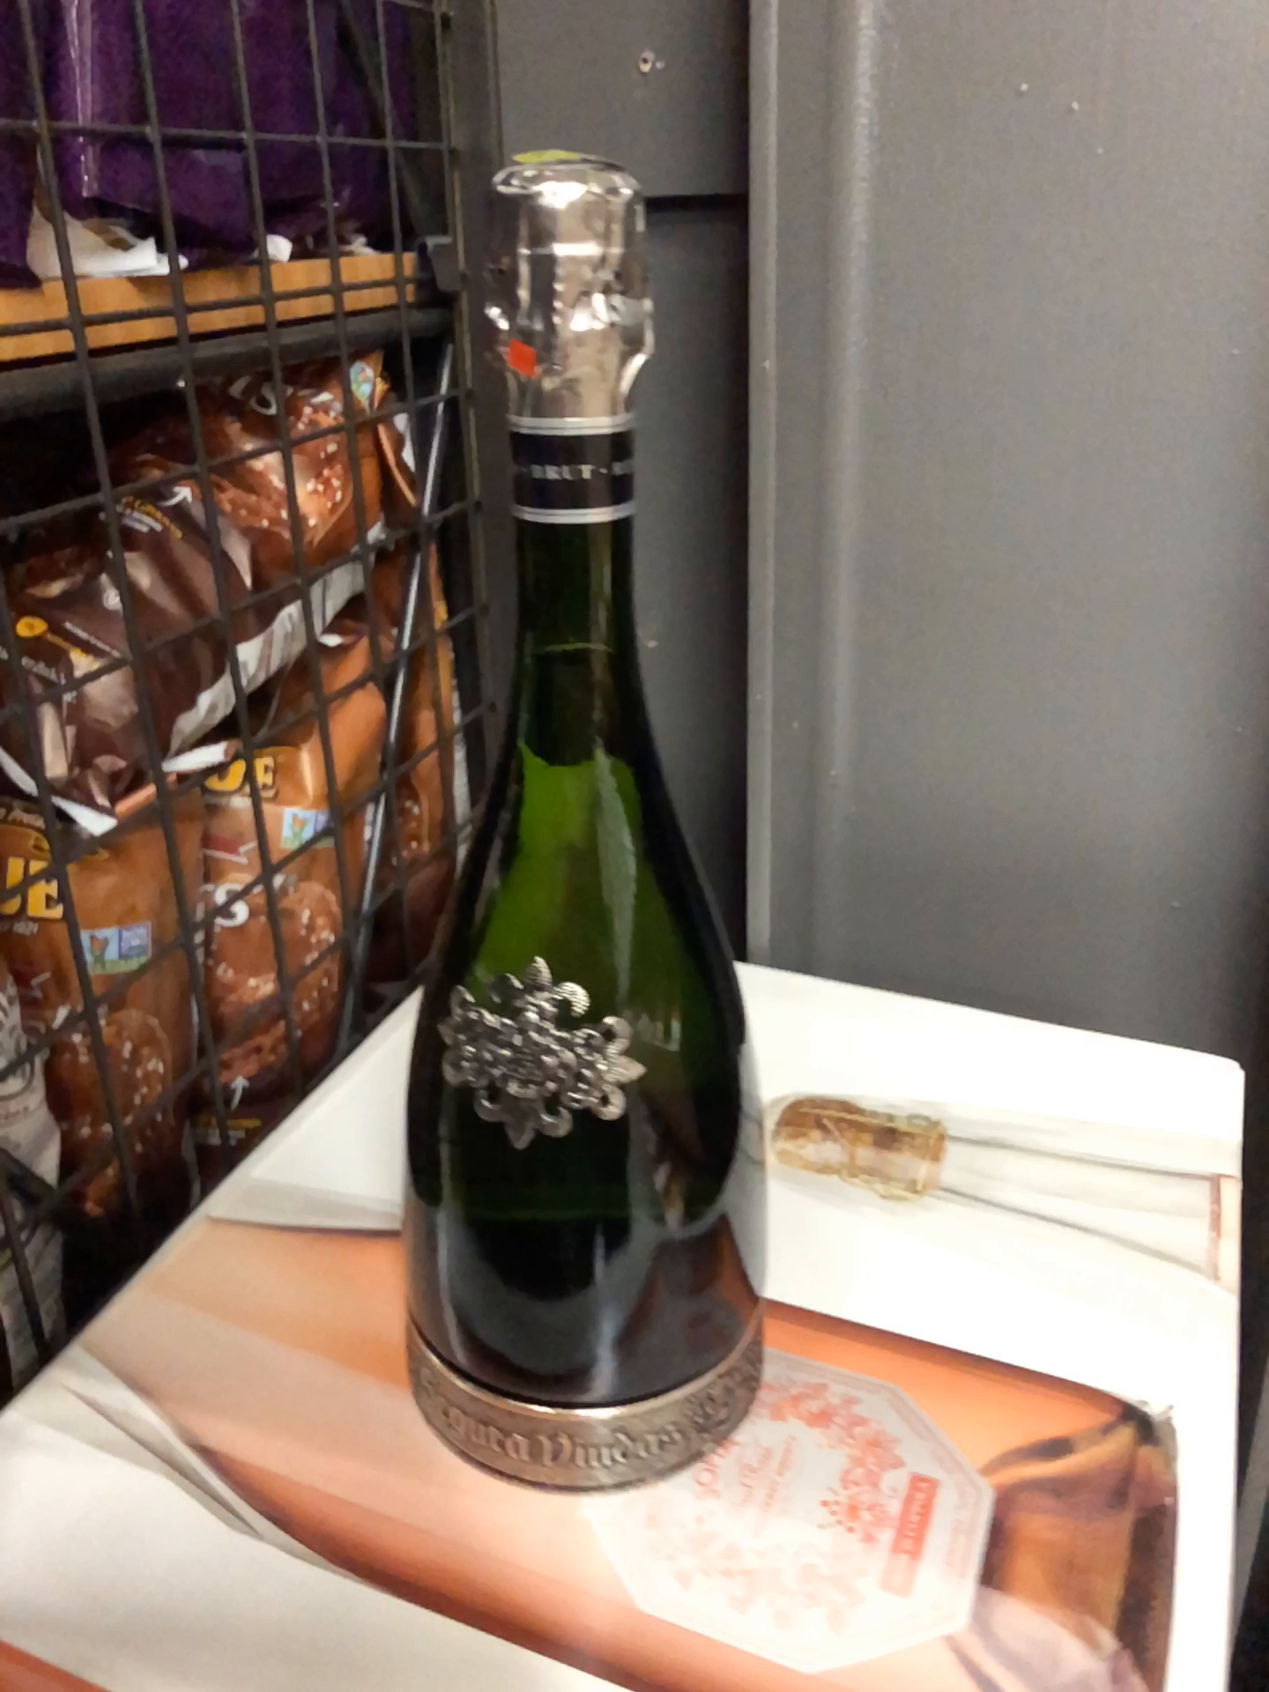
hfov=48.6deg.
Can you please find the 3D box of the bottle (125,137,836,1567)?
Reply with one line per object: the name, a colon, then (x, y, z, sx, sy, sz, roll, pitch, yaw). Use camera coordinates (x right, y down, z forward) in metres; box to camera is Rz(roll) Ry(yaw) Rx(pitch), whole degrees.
bottle: (-0.017, 0.010, 0.359, 0.122, 0.332, 0.110, 3, 24, 11)
